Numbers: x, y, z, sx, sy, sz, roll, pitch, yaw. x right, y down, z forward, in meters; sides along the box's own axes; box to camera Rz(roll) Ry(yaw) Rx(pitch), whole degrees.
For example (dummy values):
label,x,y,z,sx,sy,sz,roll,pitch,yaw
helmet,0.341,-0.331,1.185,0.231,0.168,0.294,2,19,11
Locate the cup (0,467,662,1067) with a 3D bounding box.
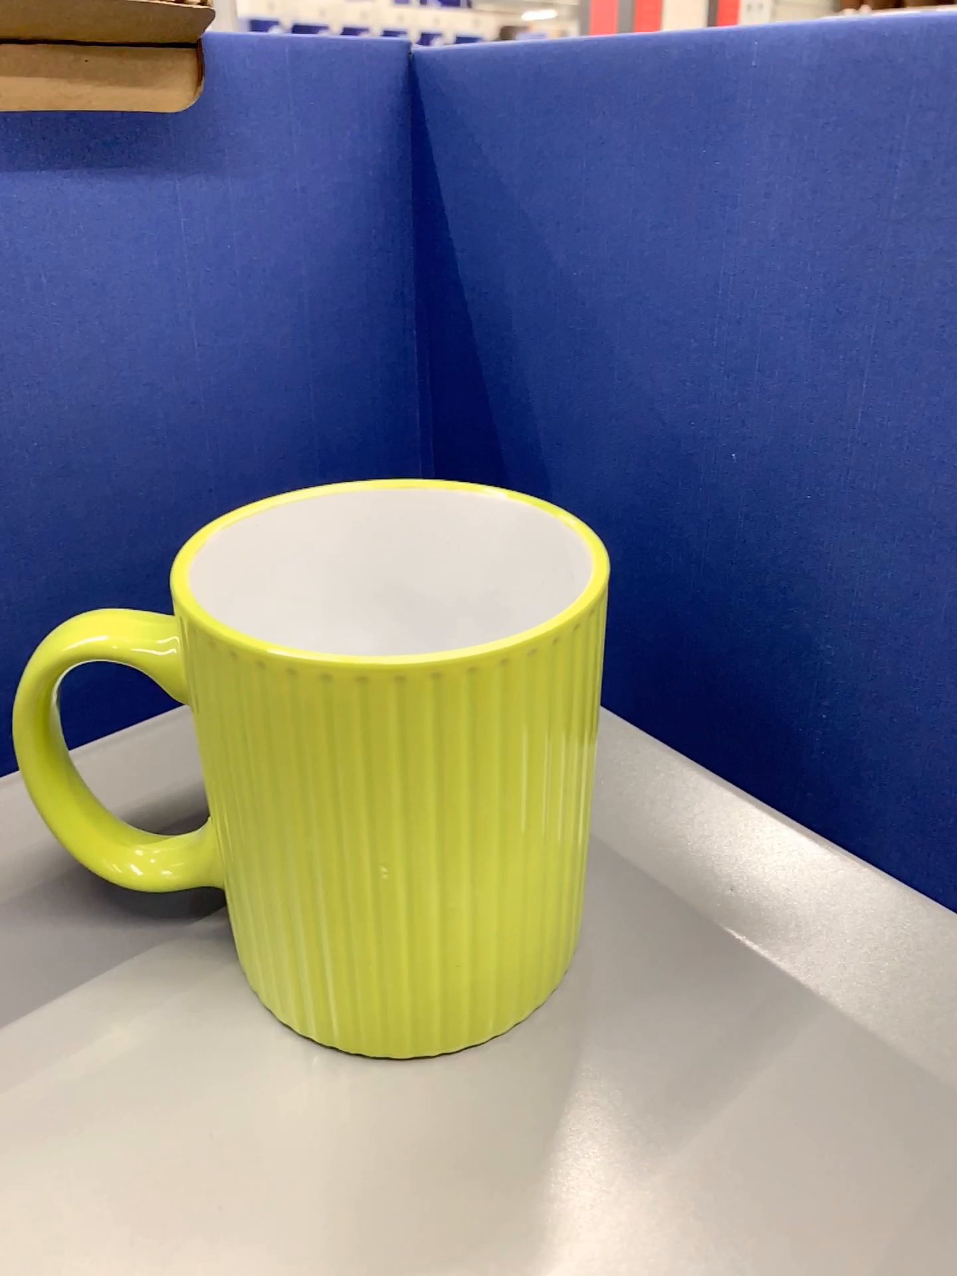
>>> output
label,x,y,z,sx,sy,sz,roll,pitch,yaw
cup,-0.034,0.023,0.223,0.129,0.098,0.091,0,27,0
